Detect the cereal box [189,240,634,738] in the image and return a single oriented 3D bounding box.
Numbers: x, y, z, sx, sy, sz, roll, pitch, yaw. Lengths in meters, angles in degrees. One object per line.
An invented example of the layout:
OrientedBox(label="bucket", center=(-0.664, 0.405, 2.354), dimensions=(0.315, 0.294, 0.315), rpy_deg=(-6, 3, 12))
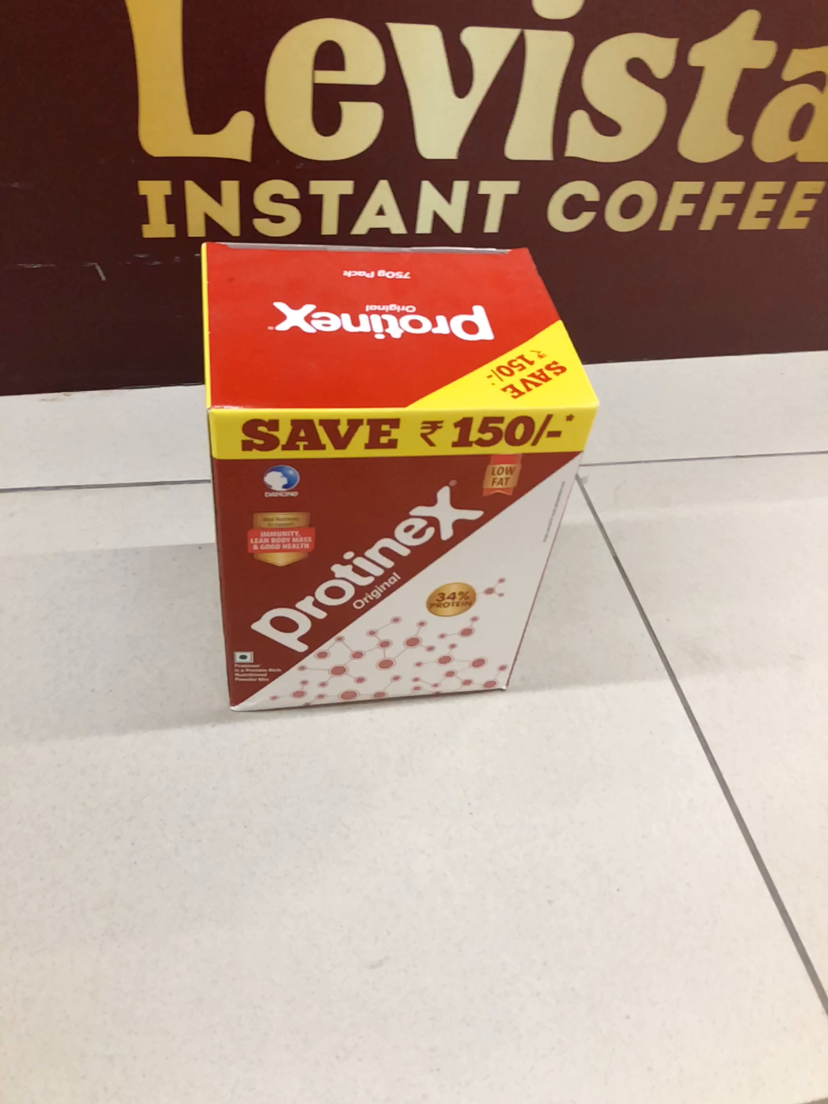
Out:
OrientedBox(label="cereal box", center=(-0.018, -0.024, 0.433), dimensions=(0.160, 0.199, 0.121), rpy_deg=(-3, 47, -12))
